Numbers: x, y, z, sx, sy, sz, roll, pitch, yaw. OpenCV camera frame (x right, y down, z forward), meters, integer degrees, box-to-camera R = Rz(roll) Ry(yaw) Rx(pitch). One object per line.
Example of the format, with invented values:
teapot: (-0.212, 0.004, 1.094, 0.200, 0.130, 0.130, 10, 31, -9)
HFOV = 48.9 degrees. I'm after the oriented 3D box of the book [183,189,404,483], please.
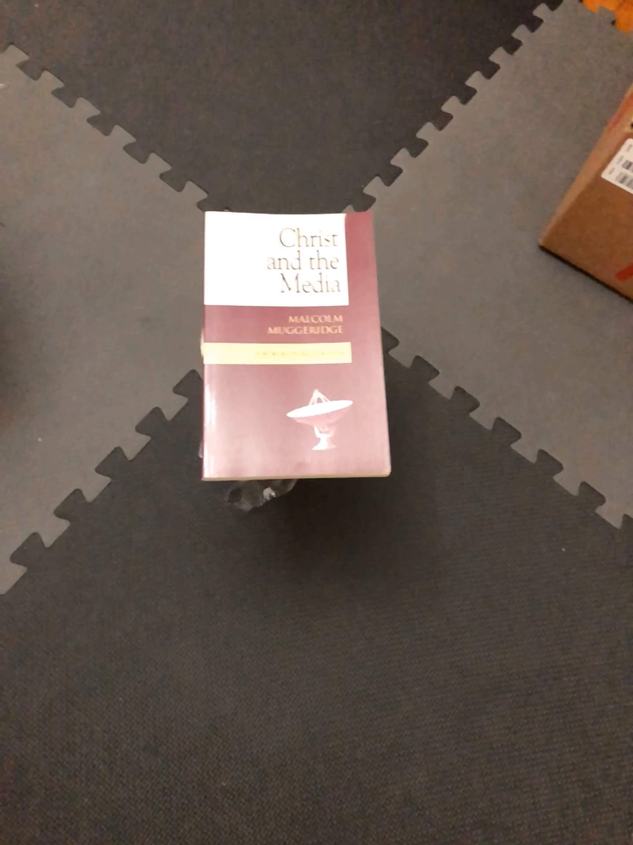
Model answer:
book: (-0.020, -0.066, 0.486, 0.140, 0.020, 0.210, -2, 73, -7)
